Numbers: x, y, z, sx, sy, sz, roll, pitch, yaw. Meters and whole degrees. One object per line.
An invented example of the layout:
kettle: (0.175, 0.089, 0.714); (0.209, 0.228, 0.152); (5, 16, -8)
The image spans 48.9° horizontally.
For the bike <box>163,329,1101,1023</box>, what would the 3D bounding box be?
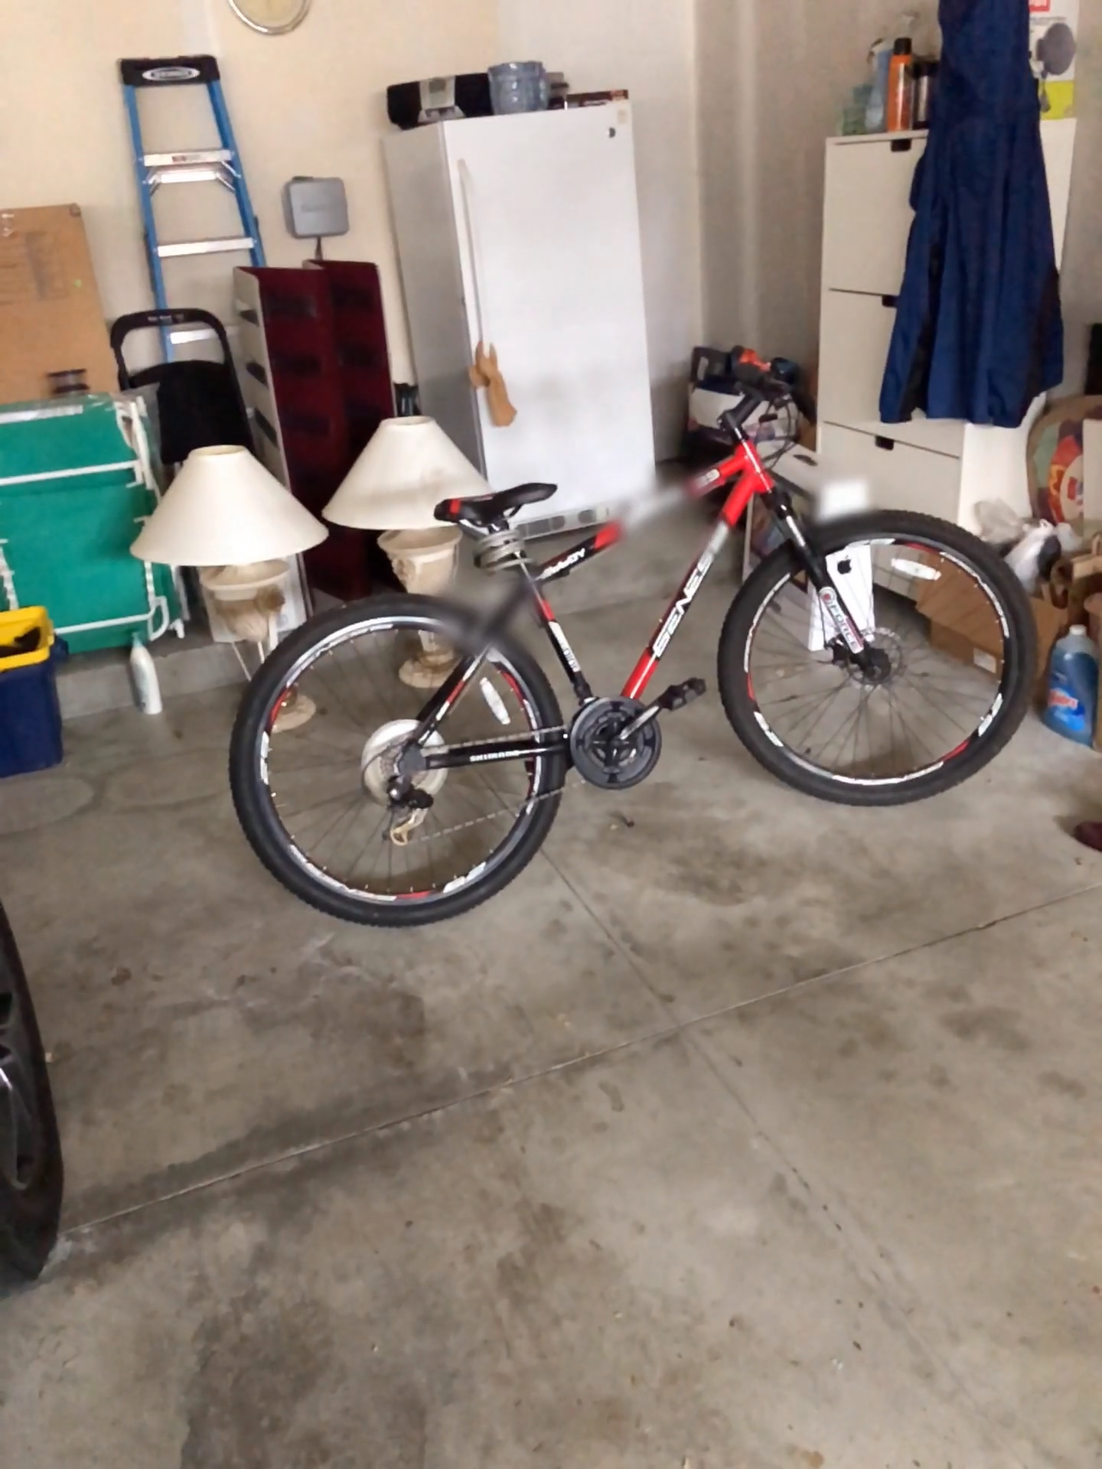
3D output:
bike: (0.212, -0.167, 2.482); (1.668, 1.053, 0.592); (-10, 25, -10)
